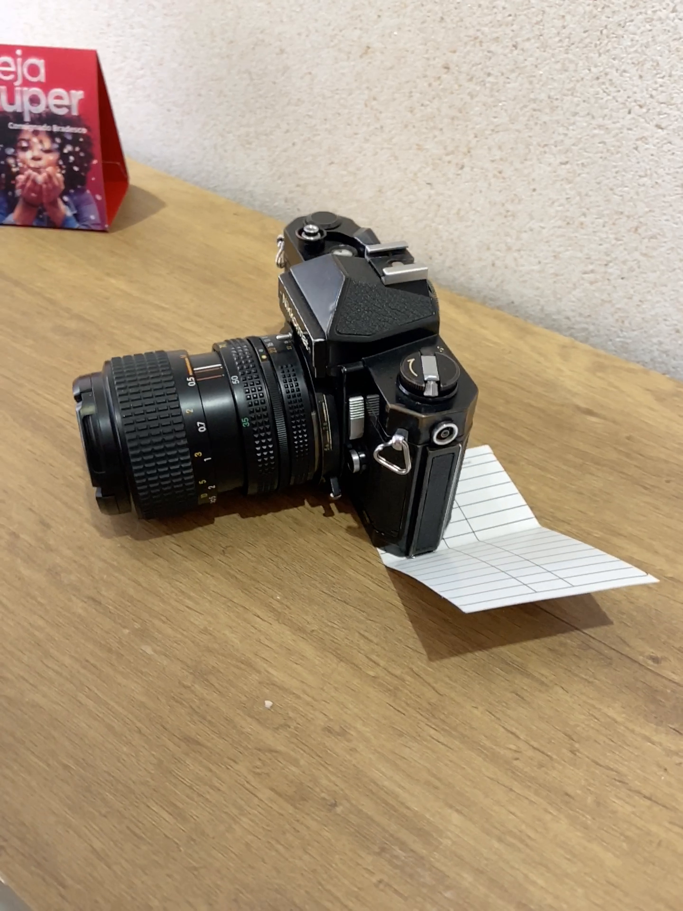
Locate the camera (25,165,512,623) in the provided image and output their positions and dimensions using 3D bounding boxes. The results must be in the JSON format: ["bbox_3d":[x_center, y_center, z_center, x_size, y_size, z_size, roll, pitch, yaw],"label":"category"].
[{"bbox_3d":[-0.039,-0.039,0.287,0.140,0.089,0.161,-8,44,-14],"label":"camera"}]
